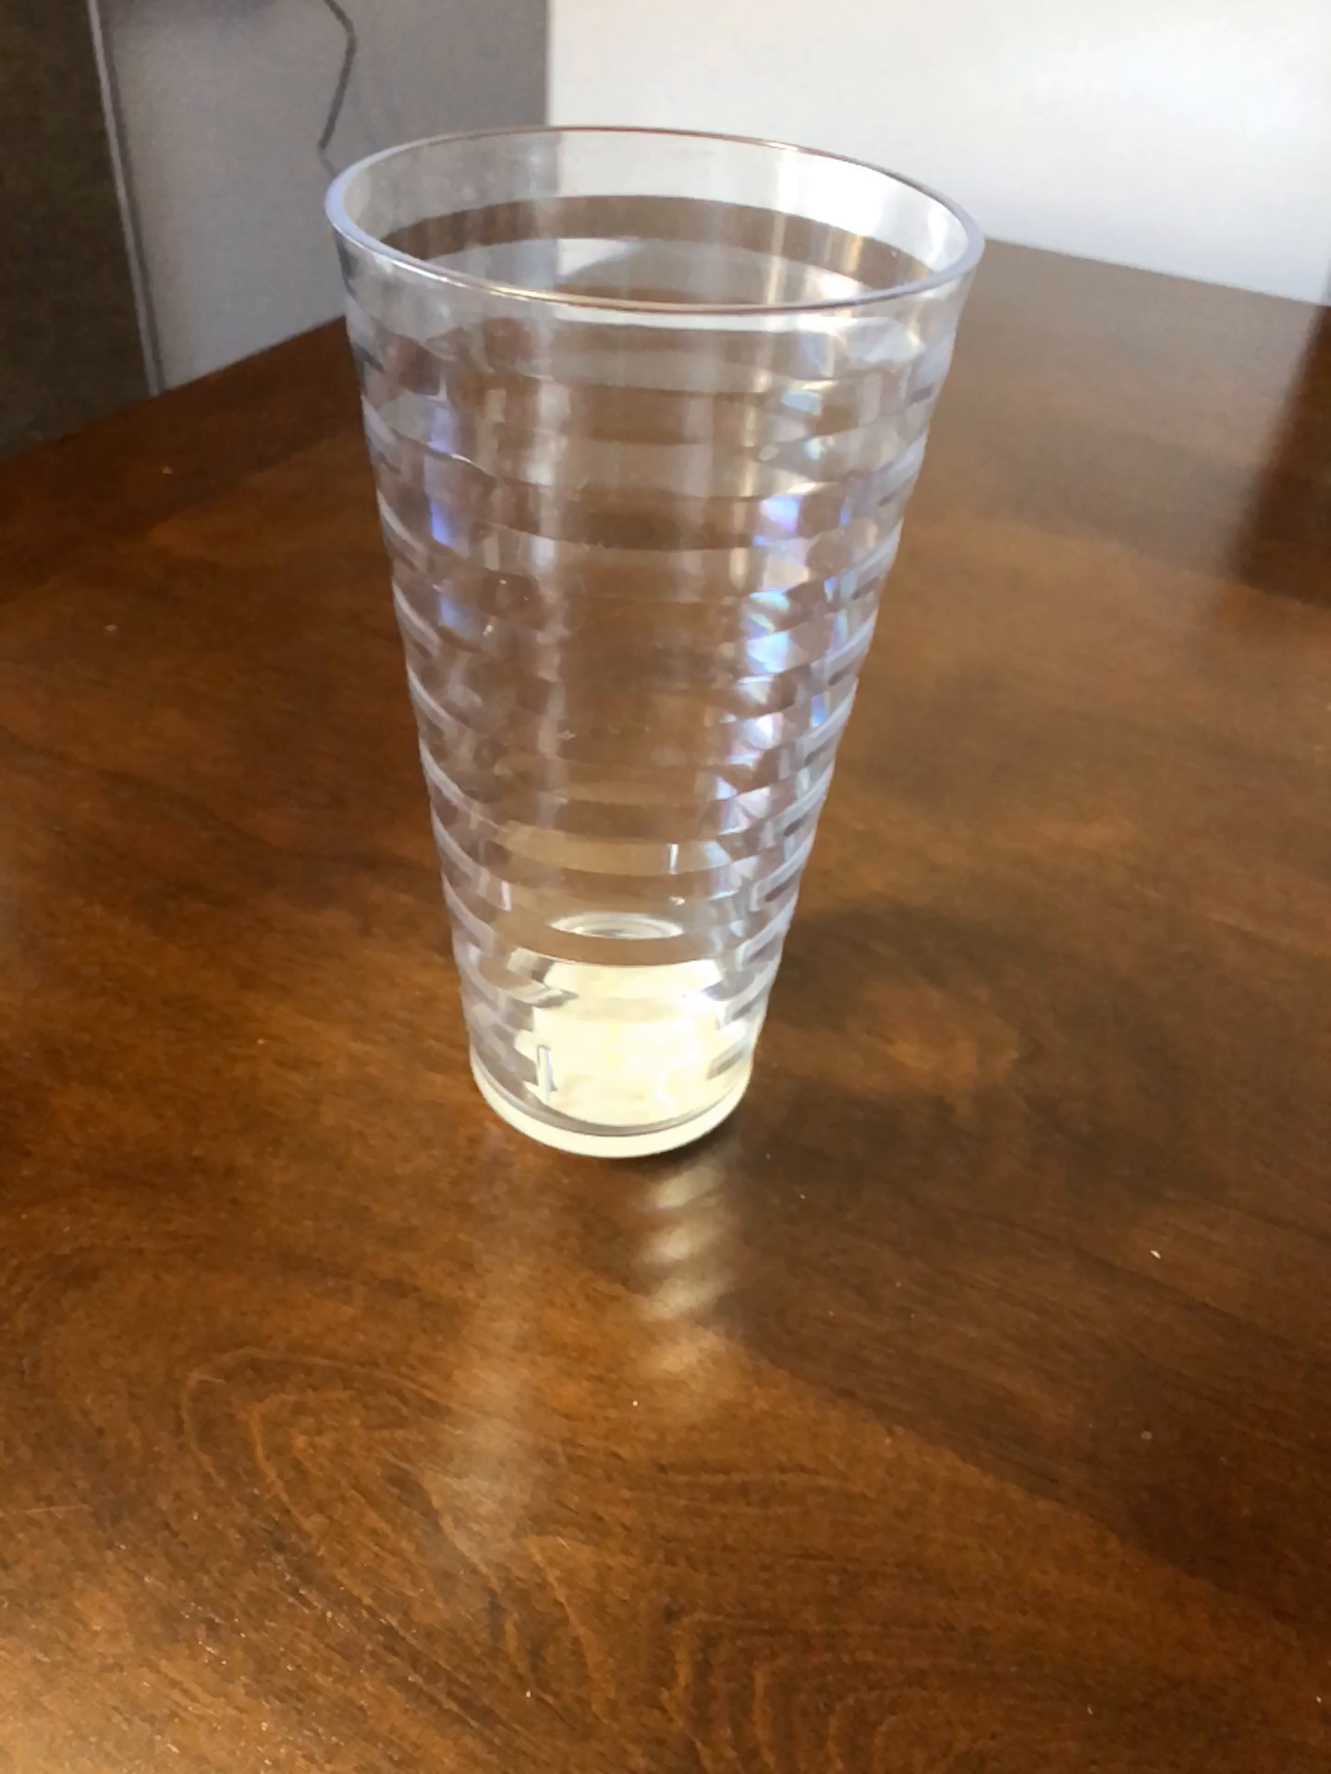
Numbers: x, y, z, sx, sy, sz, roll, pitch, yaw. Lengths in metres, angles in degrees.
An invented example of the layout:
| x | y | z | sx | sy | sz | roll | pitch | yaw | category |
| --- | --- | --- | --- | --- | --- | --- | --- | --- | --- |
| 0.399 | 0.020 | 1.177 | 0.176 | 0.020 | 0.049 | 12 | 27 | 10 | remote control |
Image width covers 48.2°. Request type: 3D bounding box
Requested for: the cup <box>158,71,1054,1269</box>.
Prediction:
| x | y | z | sx | sy | sz | roll | pitch | yaw | category |
| --- | --- | --- | --- | --- | --- | --- | --- | --- | --- |
| -0.009 | -0.040 | 0.283 | 0.100 | 0.179 | 0.100 | 3 | 39 | -2 | cup |
